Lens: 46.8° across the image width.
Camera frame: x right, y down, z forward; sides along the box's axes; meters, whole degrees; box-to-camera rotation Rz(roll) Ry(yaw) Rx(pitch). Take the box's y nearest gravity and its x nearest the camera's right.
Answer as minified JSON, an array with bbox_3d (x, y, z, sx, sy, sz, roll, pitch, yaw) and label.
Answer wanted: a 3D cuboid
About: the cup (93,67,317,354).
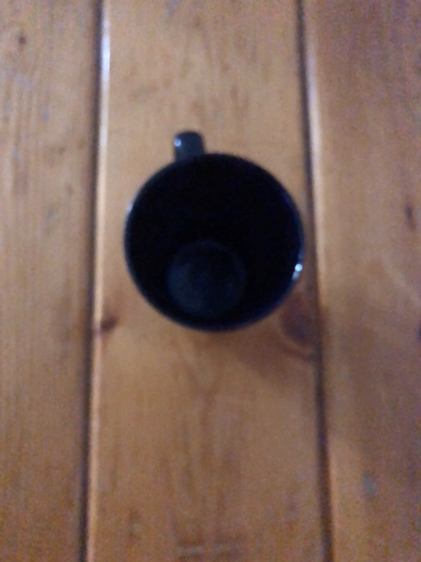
[{"bbox_3d":[-0.006,-0.033,0.299,0.100,0.100,0.140,-6,80,-3],"label":"cup"}]
